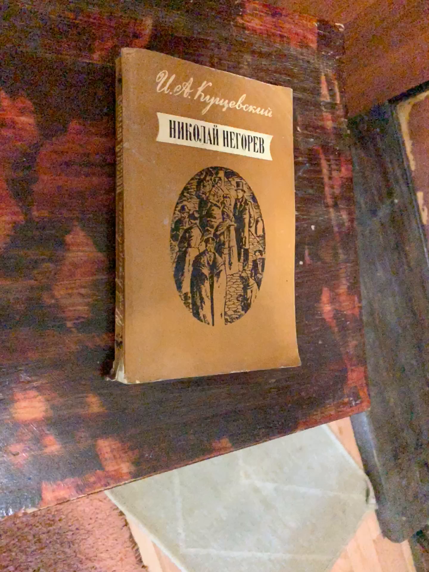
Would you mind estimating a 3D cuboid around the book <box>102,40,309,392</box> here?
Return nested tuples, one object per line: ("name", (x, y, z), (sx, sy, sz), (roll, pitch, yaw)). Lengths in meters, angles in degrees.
("book", (-0.001, -0.039, 0.279), (0.130, 0.024, 0.190), (-1, 90, -27))
